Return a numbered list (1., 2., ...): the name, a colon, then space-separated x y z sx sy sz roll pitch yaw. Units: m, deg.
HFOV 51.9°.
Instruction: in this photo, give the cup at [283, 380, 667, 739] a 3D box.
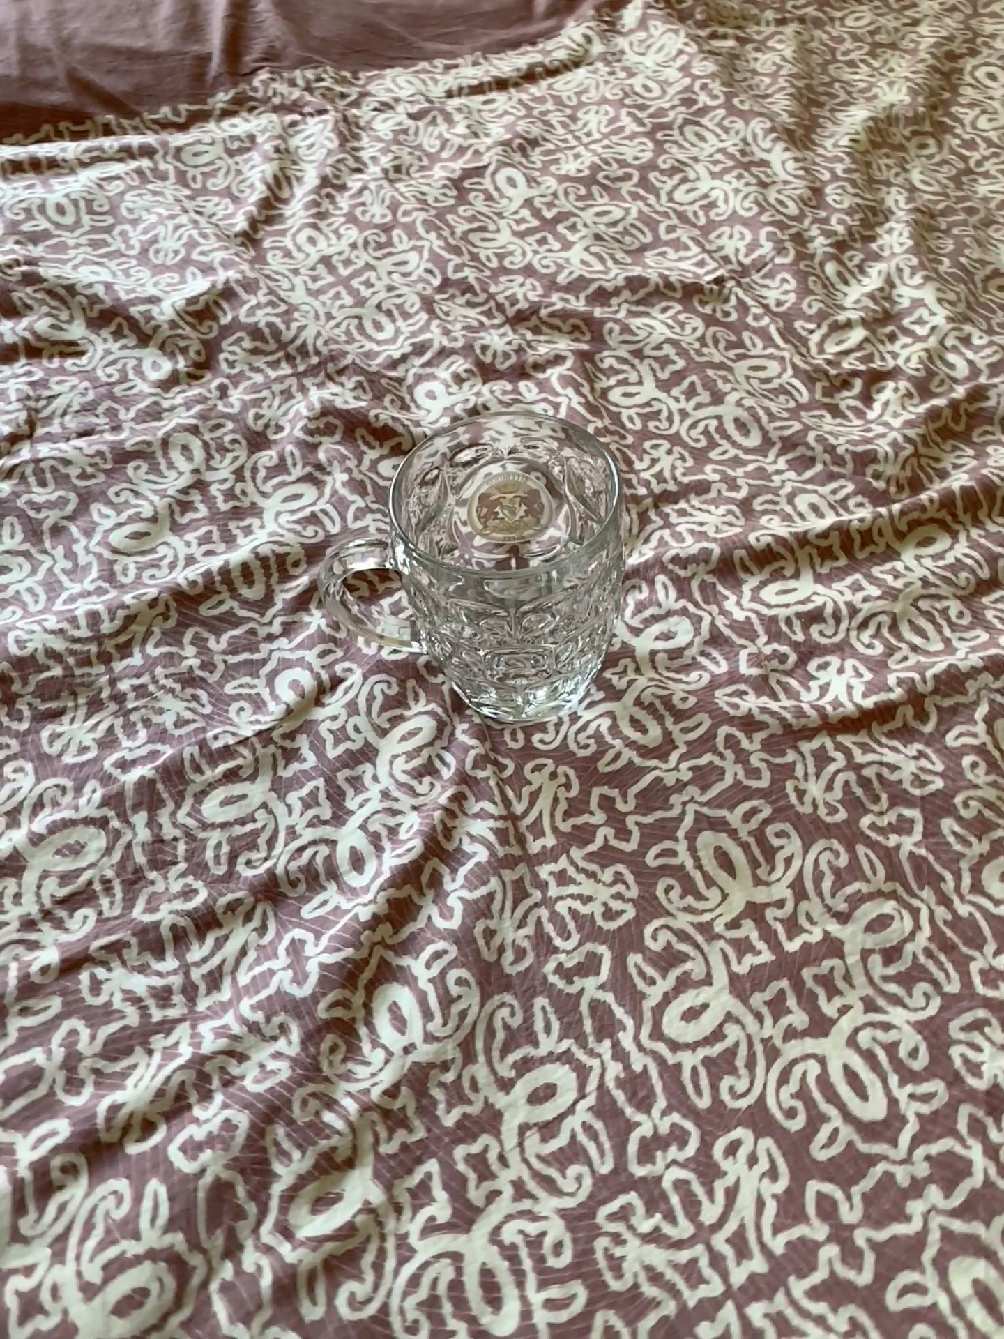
1. cup: -0.015 -0.043 0.419 0.130 0.109 0.091 -3 53 -5
